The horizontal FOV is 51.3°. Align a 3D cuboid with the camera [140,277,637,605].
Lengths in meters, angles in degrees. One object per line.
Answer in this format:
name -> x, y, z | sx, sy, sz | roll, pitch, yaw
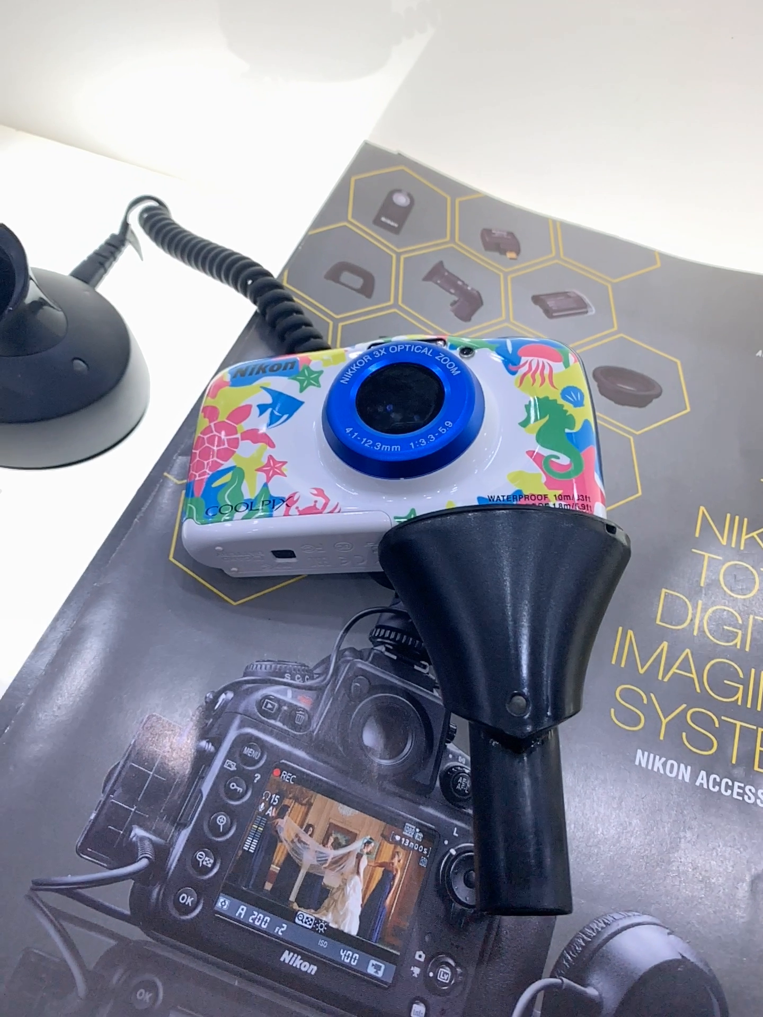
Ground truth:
camera -> 0.002, -0.019, 0.210 | 0.110, 0.030, 0.080 | -3, 54, 7
